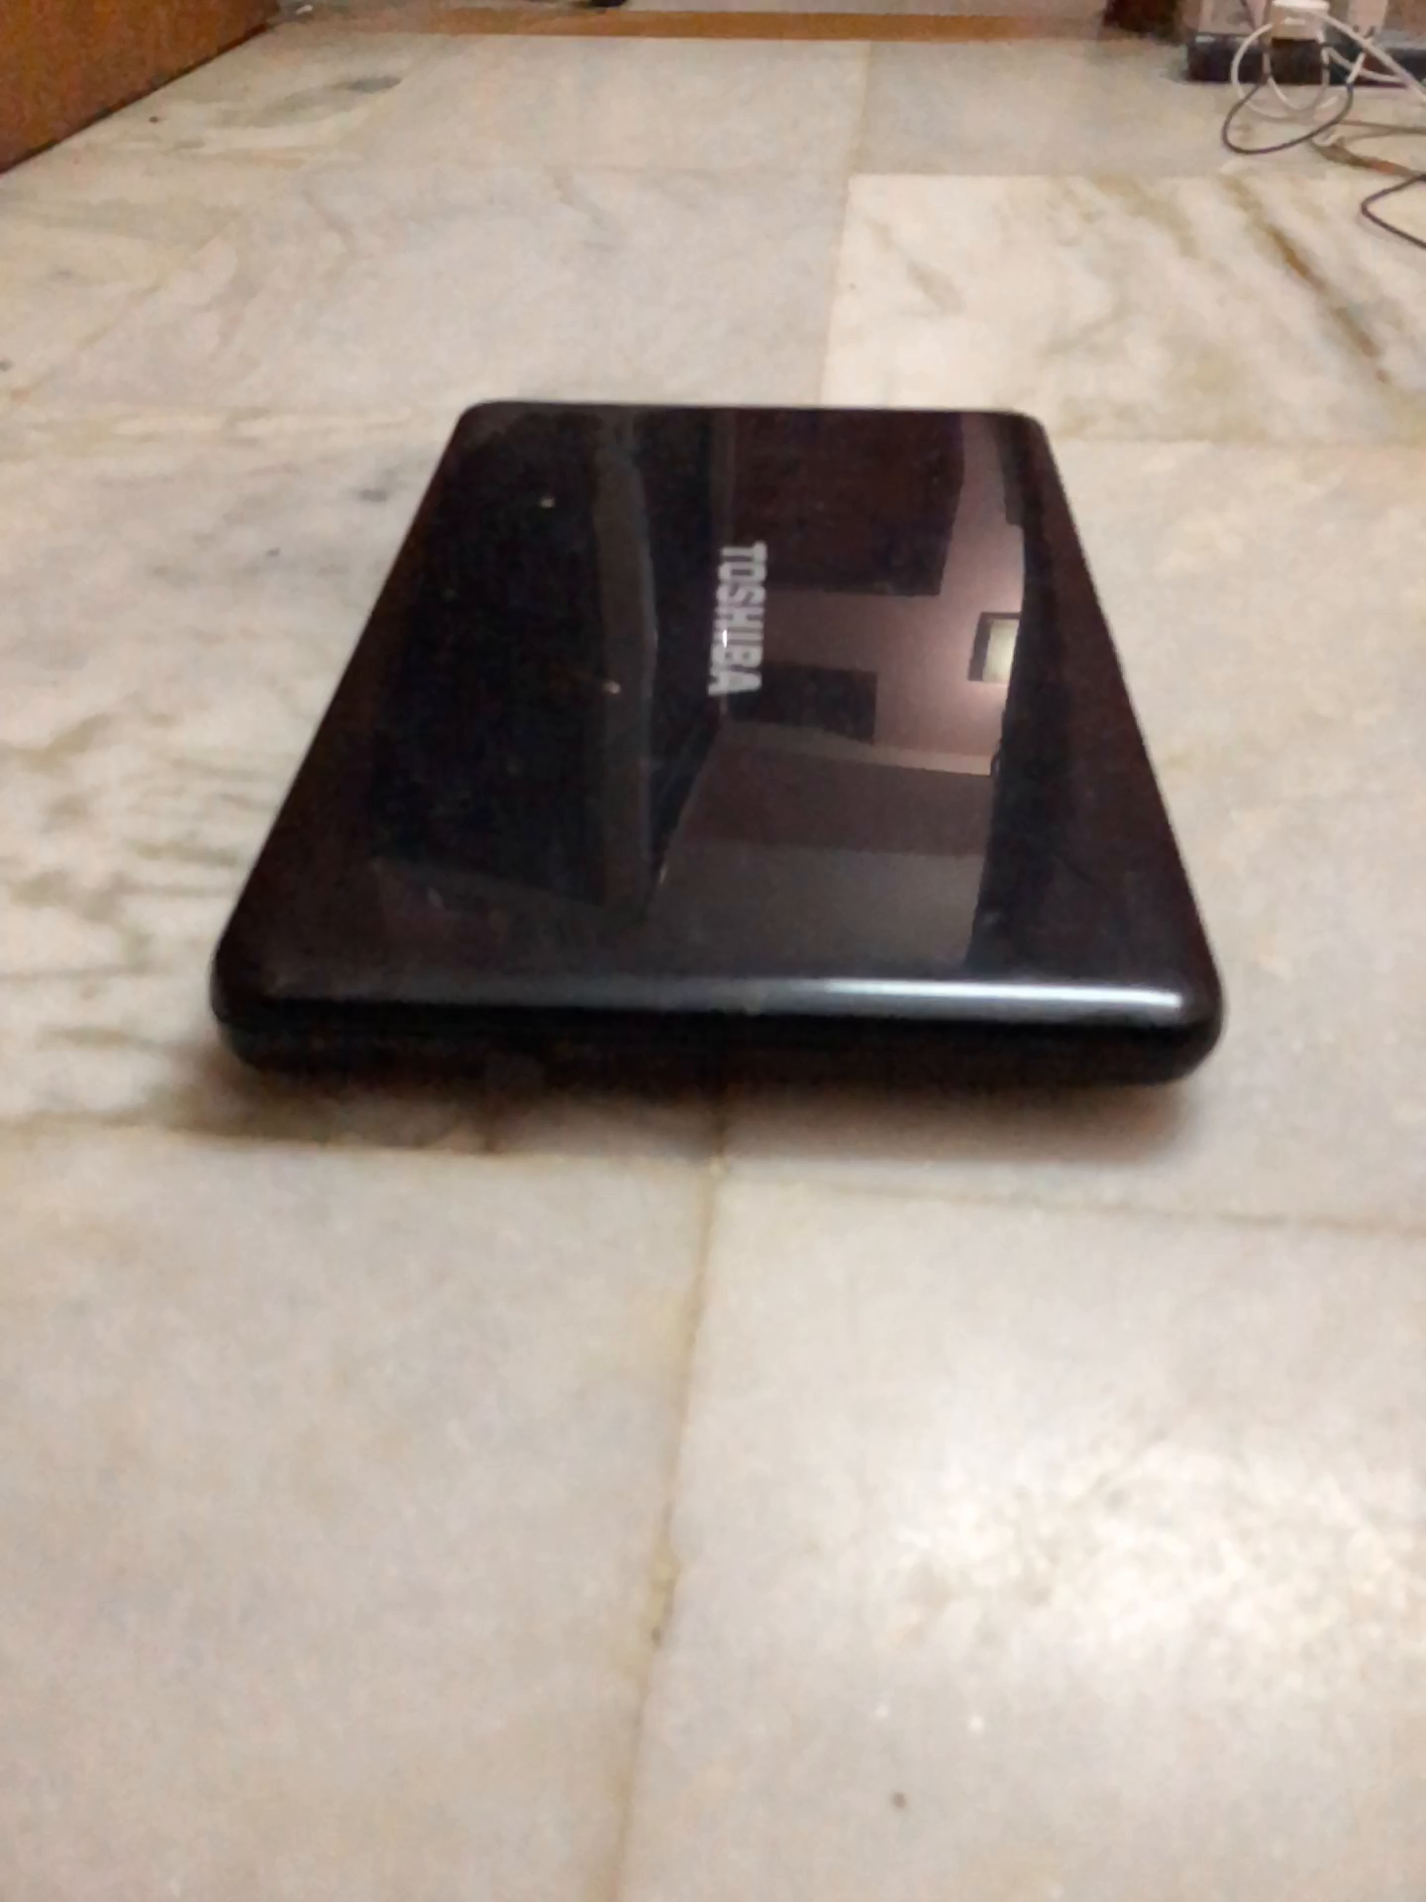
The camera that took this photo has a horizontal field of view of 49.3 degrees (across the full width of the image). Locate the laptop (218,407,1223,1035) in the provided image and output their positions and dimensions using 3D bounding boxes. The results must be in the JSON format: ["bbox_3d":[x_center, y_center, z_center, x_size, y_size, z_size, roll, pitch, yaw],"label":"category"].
[{"bbox_3d":[0.009,-0.100,0.487,0.224,0.004,0.362,2,39,1],"label":"laptop"}]
